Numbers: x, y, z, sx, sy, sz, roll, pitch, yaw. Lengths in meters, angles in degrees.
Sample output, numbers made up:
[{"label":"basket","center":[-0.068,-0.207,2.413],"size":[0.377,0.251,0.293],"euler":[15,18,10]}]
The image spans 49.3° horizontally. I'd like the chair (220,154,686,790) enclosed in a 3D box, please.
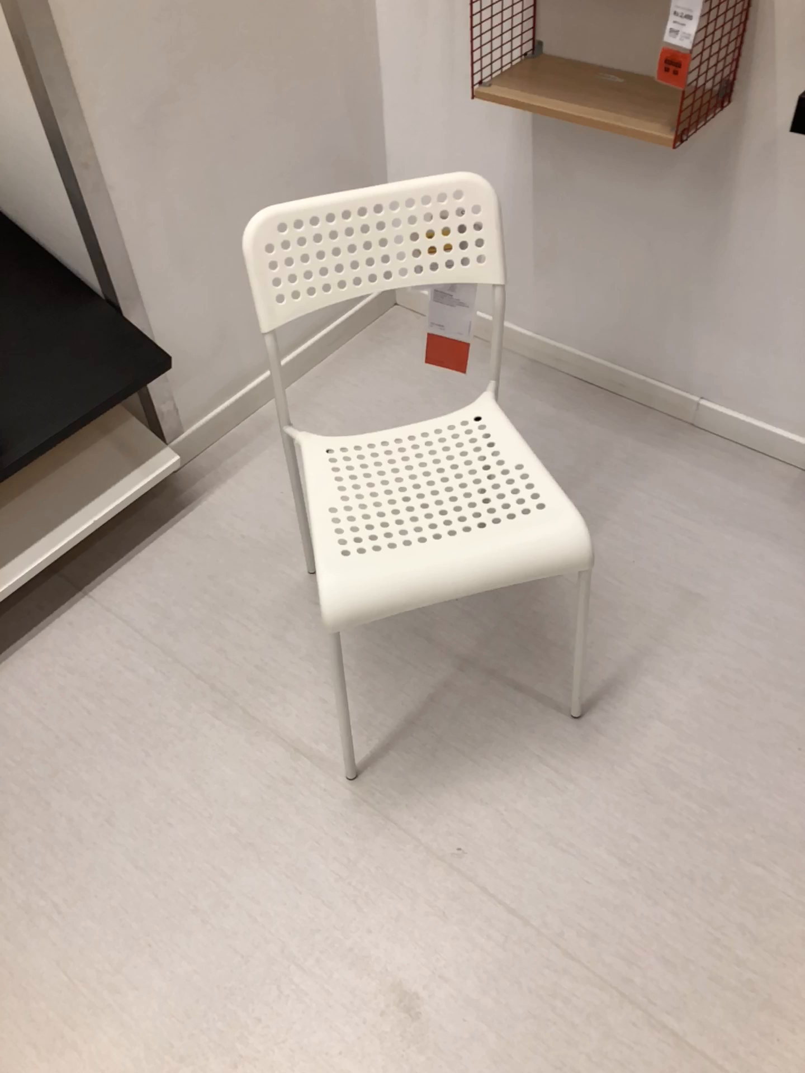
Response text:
[{"label":"chair","center":[0.045,-0.062,1.289],"size":[0.420,0.735,0.473],"euler":[-13,48,-7]}]
